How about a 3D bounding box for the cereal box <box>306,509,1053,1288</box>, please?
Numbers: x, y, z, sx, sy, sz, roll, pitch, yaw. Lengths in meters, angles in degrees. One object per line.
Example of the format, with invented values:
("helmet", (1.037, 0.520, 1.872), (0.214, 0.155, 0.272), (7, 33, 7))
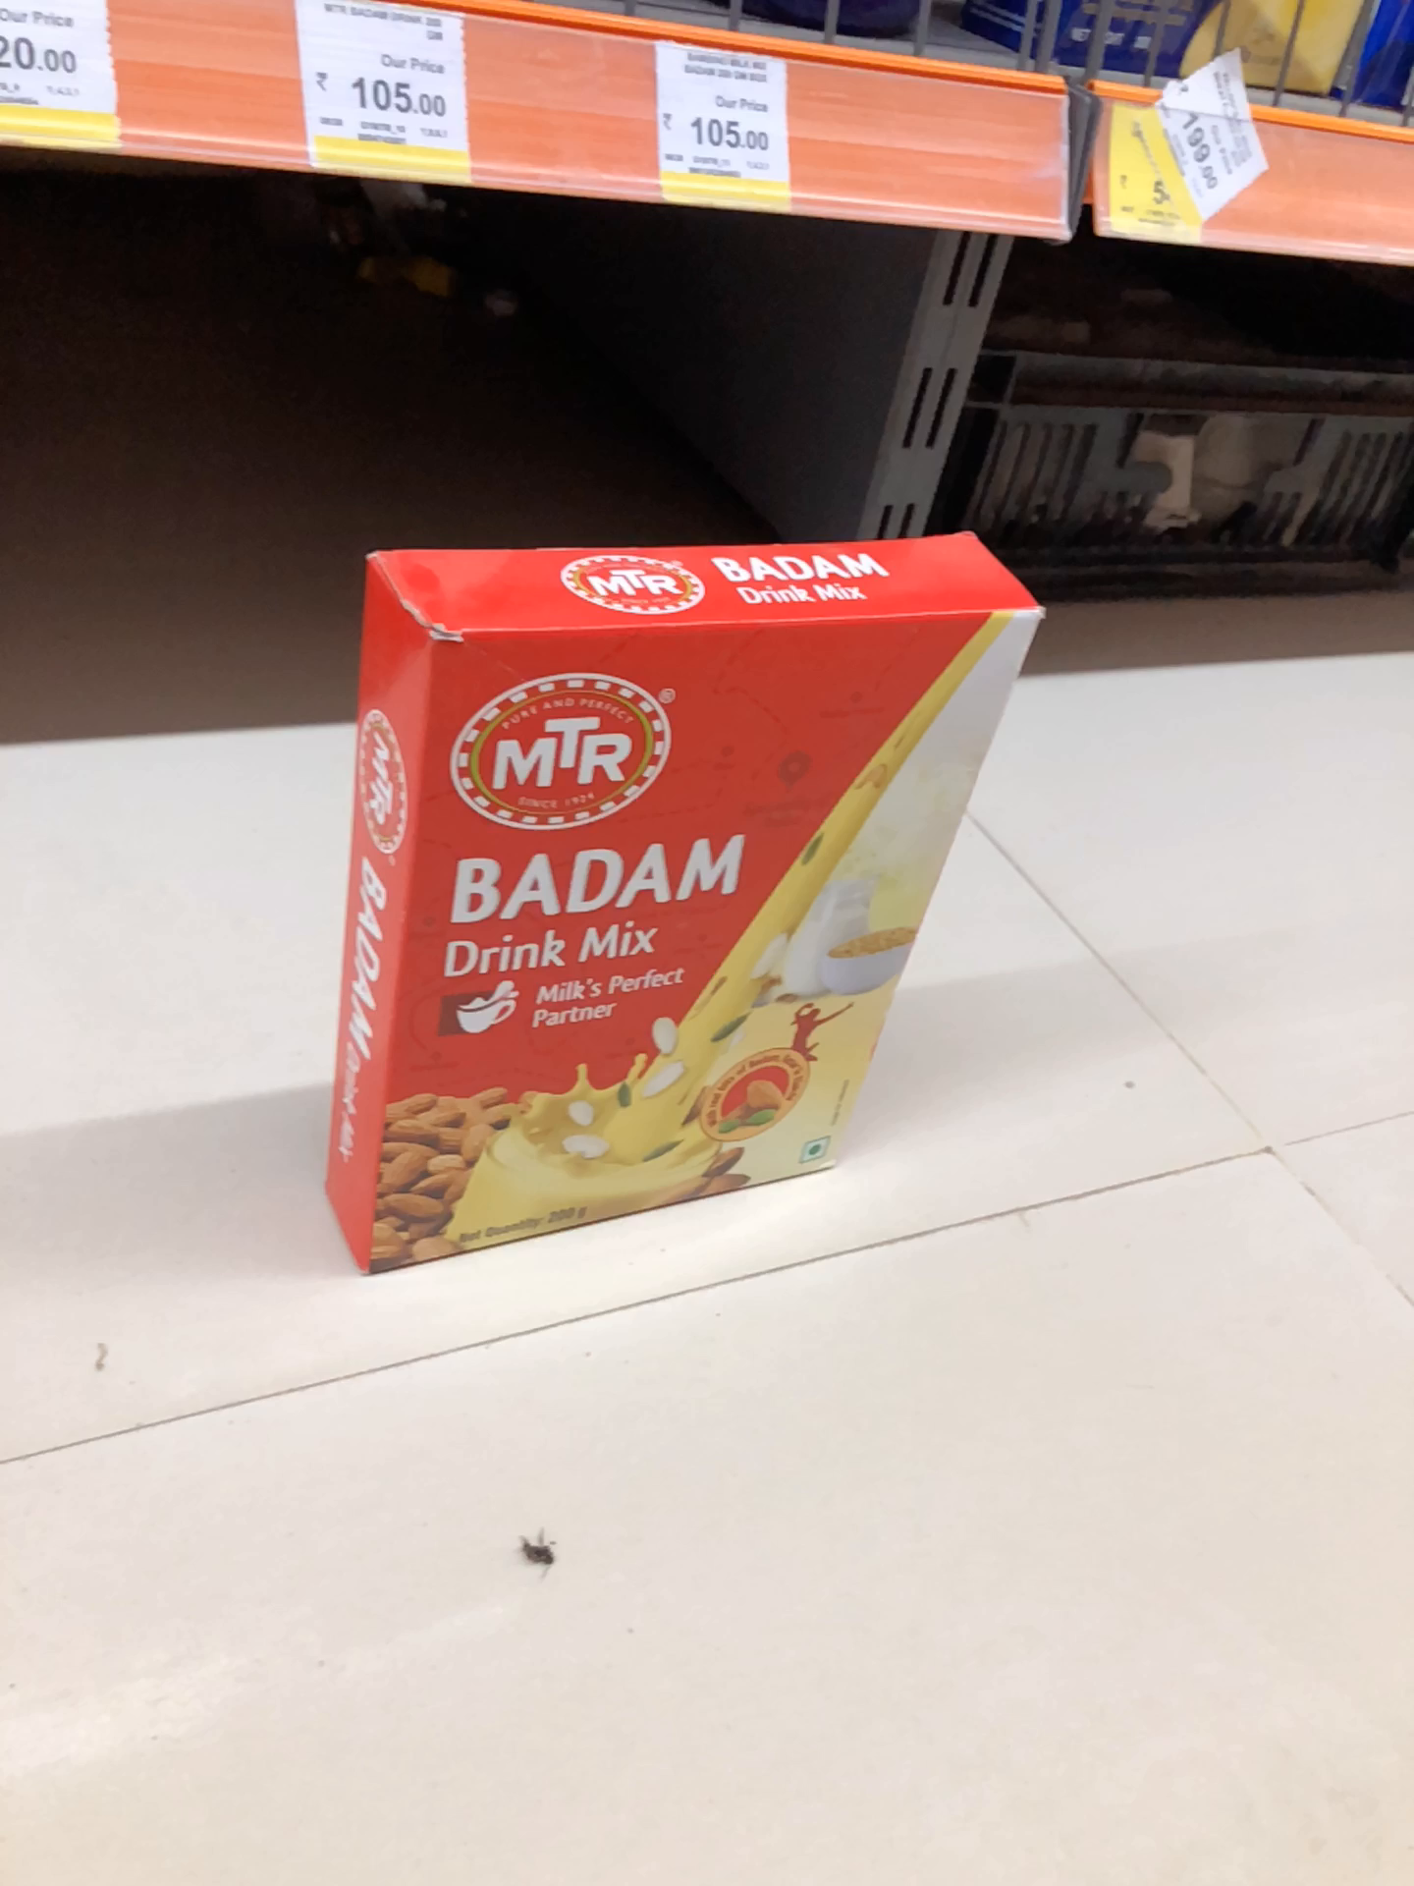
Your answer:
("cereal box", (-0.013, -0.008, 0.337), (0.130, 0.159, 0.040), (-9, 43, -27))
